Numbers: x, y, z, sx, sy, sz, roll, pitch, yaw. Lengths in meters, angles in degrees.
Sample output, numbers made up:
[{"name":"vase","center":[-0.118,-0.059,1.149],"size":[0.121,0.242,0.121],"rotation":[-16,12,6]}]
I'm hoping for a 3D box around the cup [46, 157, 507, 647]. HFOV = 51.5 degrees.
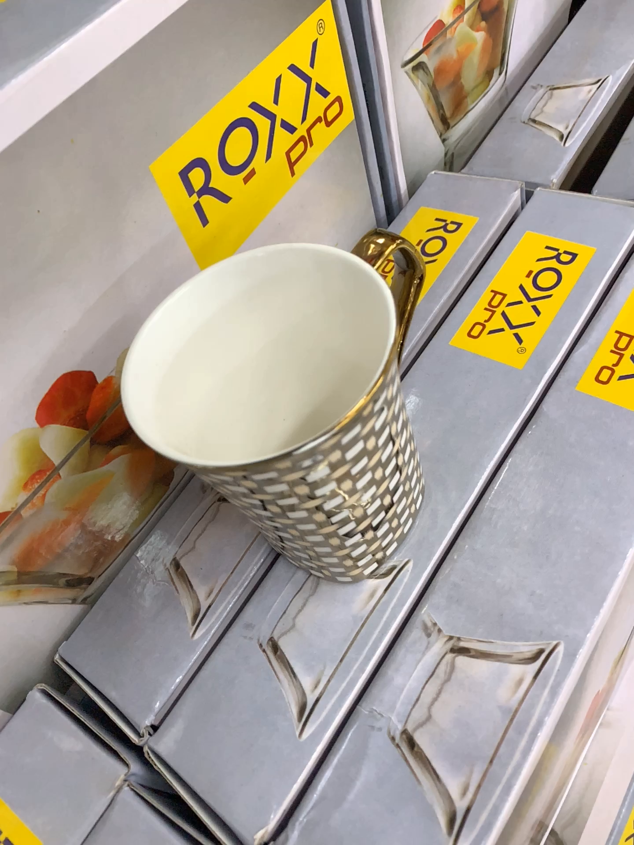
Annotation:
[{"name":"cup","center":[-0.001,-0.009,0.221],"size":[0.083,0.092,0.113],"rotation":[26,65,30]}]
